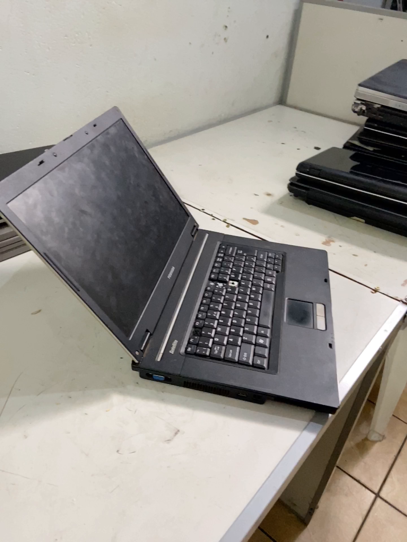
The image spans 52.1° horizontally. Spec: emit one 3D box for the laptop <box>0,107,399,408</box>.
[{"bbox_3d":[0.010,-0.058,0.605,0.401,0.212,0.358,10,36,8],"label":"laptop"}]
